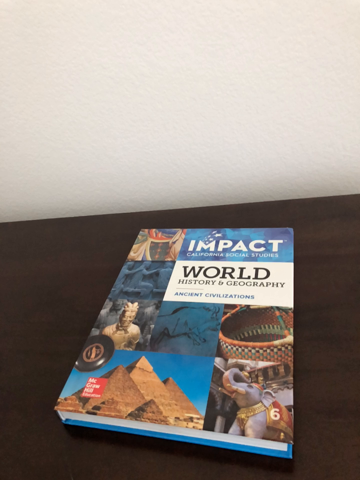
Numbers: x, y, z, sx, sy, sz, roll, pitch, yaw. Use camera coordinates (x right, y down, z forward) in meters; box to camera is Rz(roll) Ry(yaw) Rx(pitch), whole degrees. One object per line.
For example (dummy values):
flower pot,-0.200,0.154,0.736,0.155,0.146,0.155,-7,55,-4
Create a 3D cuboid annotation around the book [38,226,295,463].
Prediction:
book,0.012,0.081,0.454,0.227,0.030,0.286,1,38,17
